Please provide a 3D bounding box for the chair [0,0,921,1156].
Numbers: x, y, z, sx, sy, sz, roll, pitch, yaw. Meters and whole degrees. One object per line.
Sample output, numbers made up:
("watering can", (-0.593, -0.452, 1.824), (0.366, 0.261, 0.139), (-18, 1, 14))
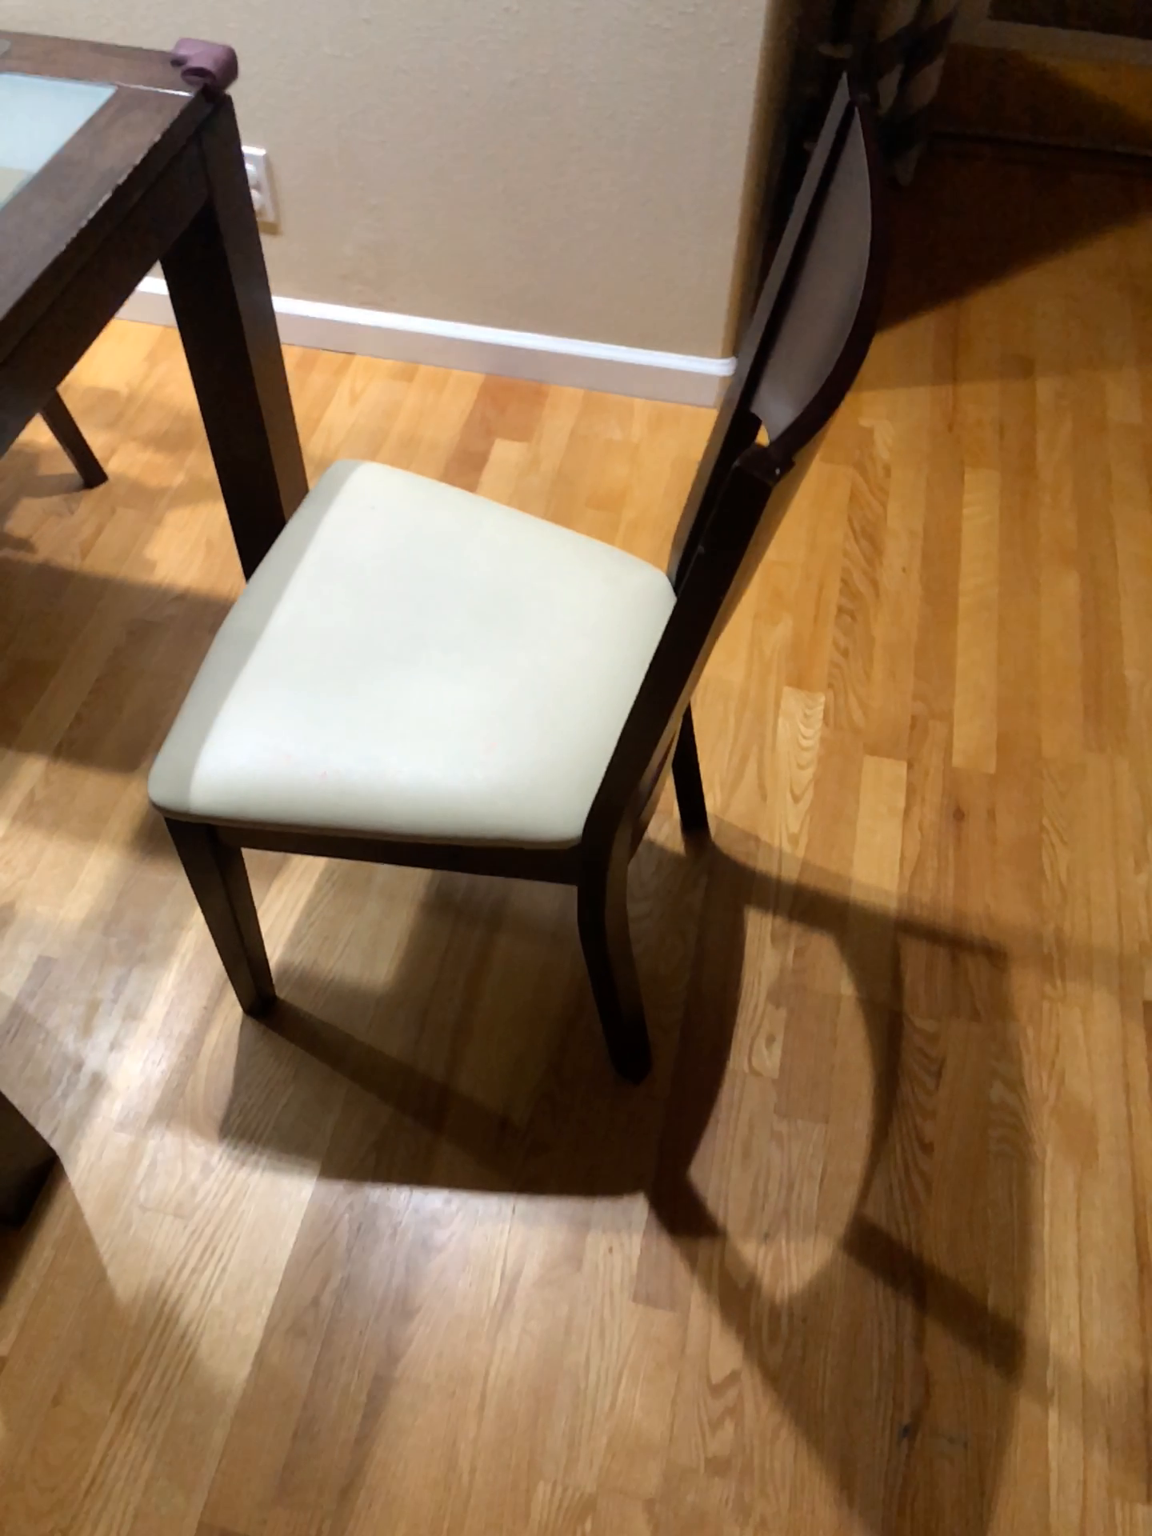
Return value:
("chair", (-0.099, -0.098, 1.241), (0.640, 1.005, 0.502), (8, 53, 6))
